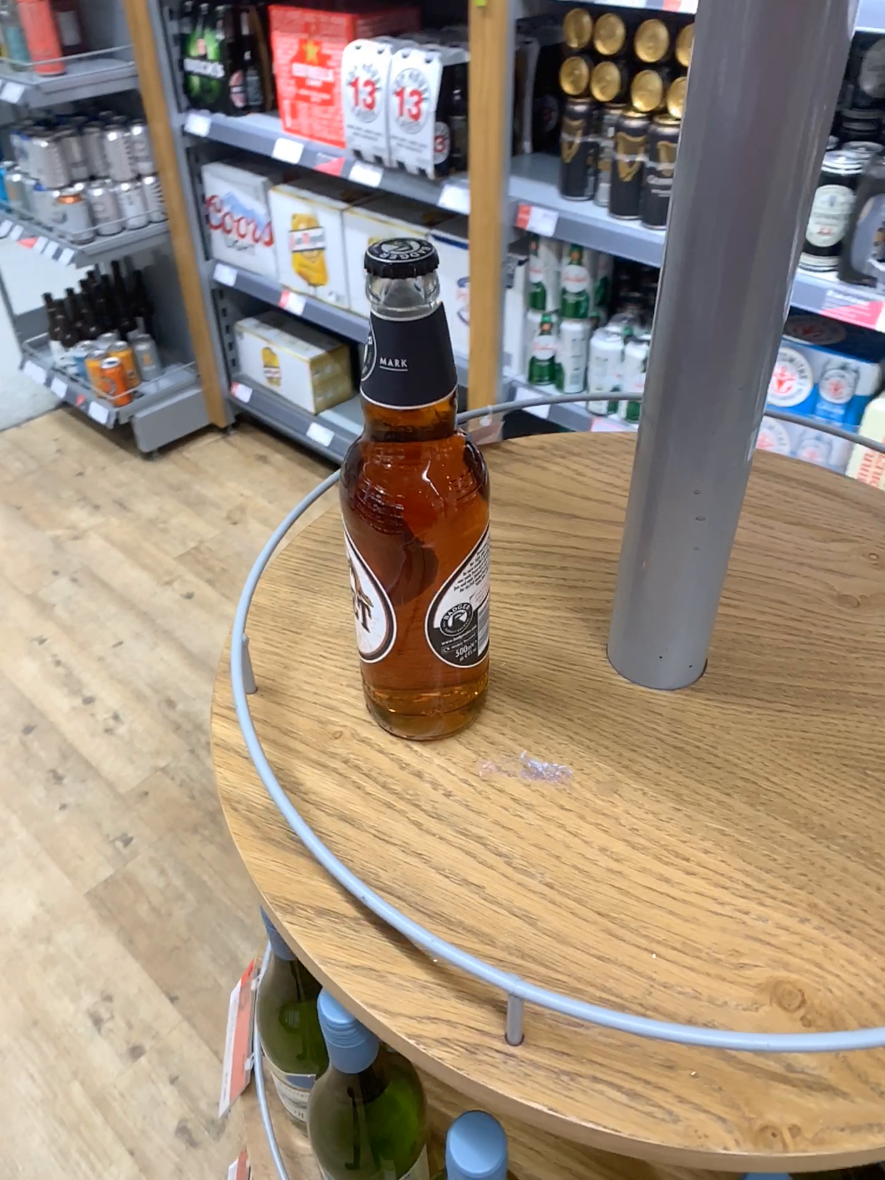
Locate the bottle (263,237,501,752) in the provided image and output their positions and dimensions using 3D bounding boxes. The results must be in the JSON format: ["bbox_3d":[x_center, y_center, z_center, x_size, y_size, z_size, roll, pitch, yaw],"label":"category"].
[{"bbox_3d":[-0.018,-0.033,0.420,0.076,0.231,0.069,-1,40,1],"label":"bottle"}]
